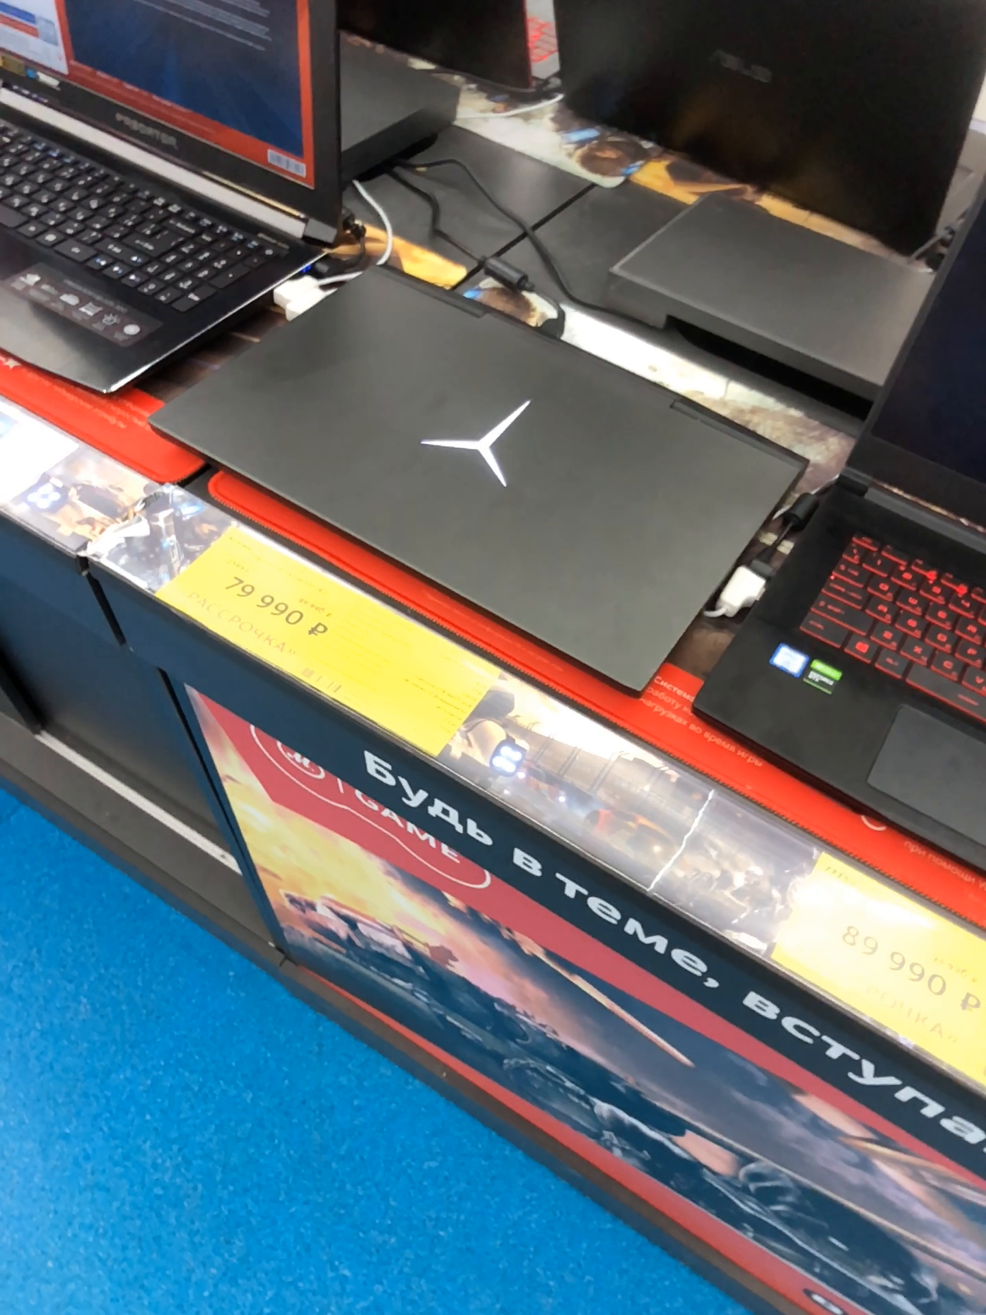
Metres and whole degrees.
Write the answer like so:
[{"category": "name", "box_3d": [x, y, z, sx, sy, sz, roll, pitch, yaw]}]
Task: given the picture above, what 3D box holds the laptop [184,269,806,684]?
[{"category": "laptop", "box_3d": [0.006, -0.140, 0.713, 0.344, 0.007, 0.228, 29, 53, 16]}]
